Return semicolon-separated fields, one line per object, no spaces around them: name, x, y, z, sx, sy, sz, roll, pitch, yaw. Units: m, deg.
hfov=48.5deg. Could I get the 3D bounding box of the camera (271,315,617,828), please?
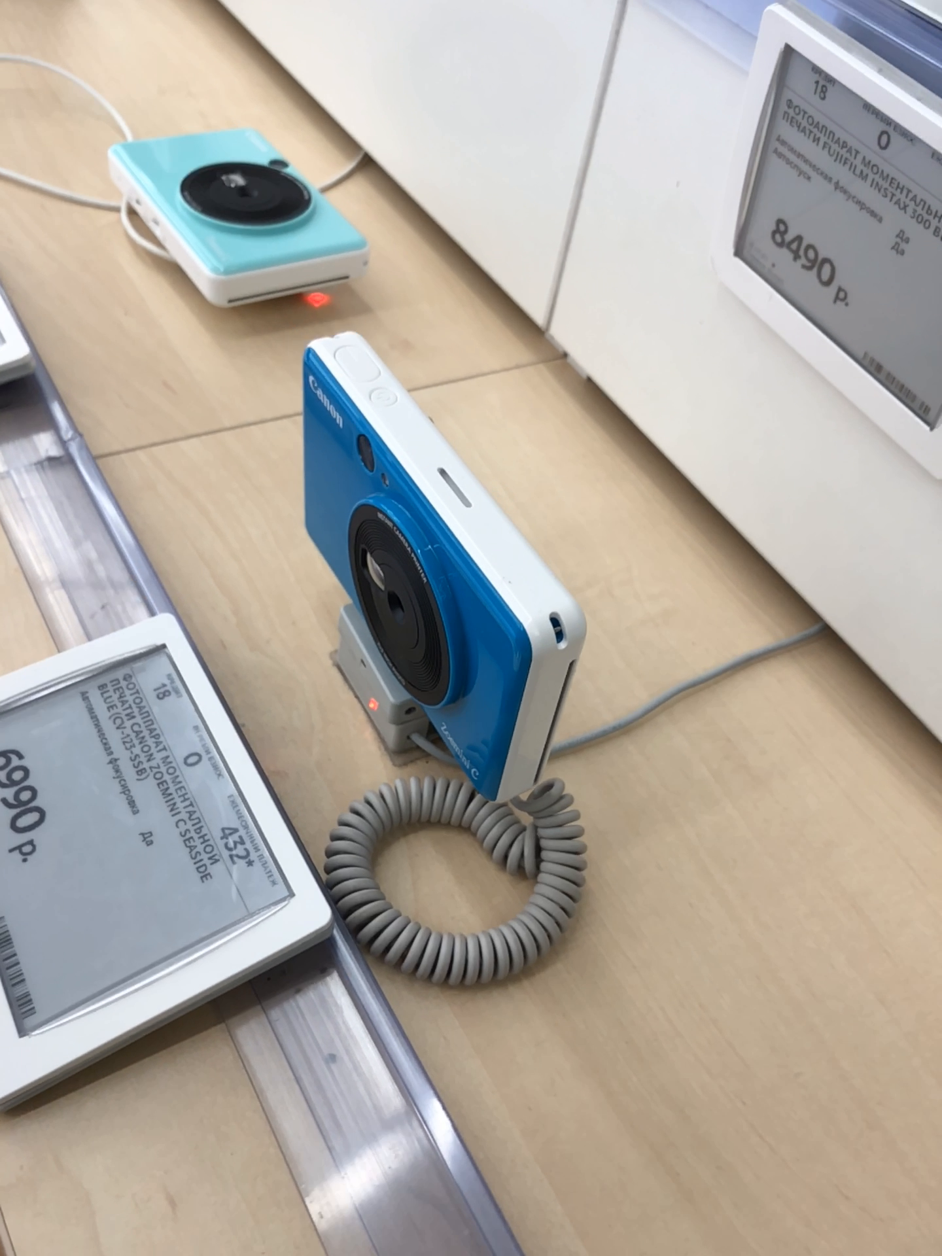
camera;-0.014;-0.018;0.280;0.030;0.070;0.120;-21;56;-22
